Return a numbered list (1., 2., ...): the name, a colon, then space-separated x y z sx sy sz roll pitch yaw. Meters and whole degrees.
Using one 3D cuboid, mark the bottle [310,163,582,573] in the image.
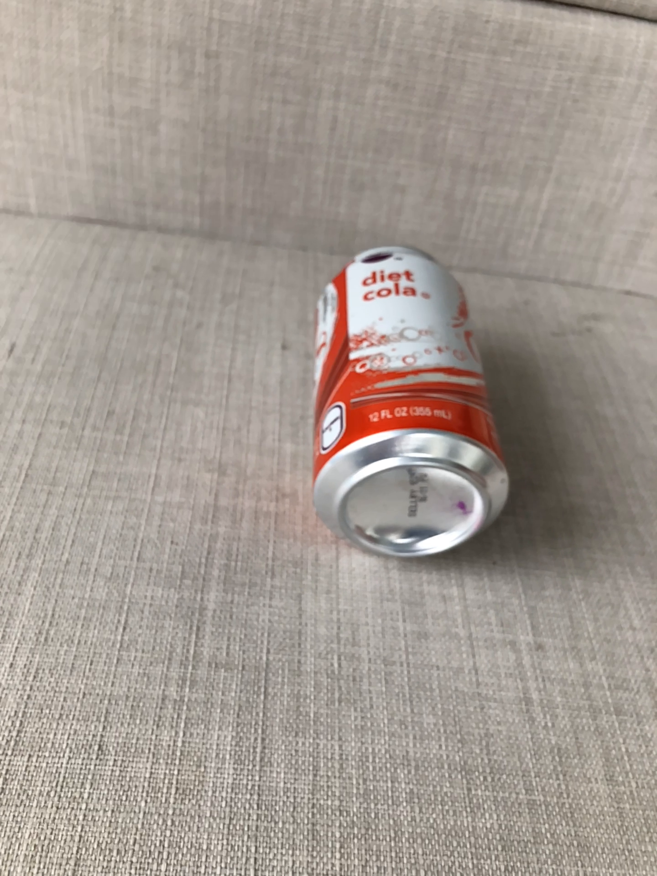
1. bottle: 0.033 -0.033 0.282 0.070 0.062 0.150 6 48 -8
